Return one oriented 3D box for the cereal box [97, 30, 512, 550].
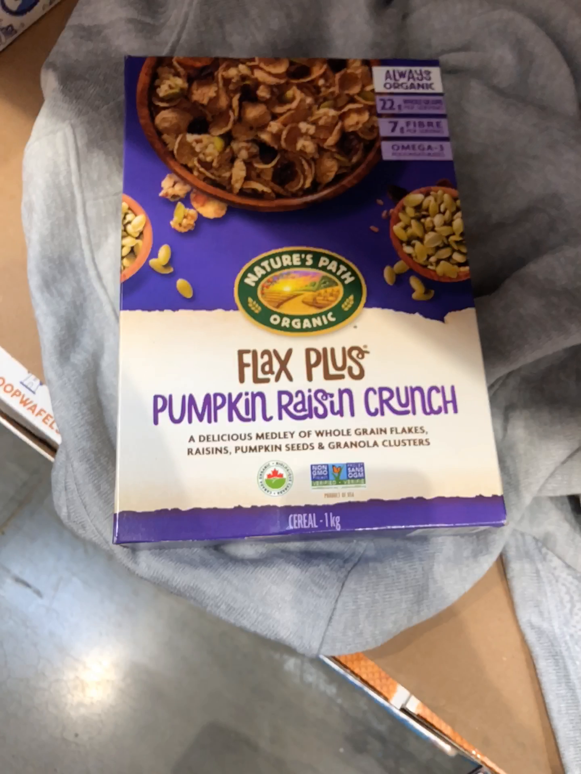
[{"bbox_3d":[-0.002,-0.063,0.413,0.210,0.090,0.310,-2,74,-6],"label":"cereal box"}]
